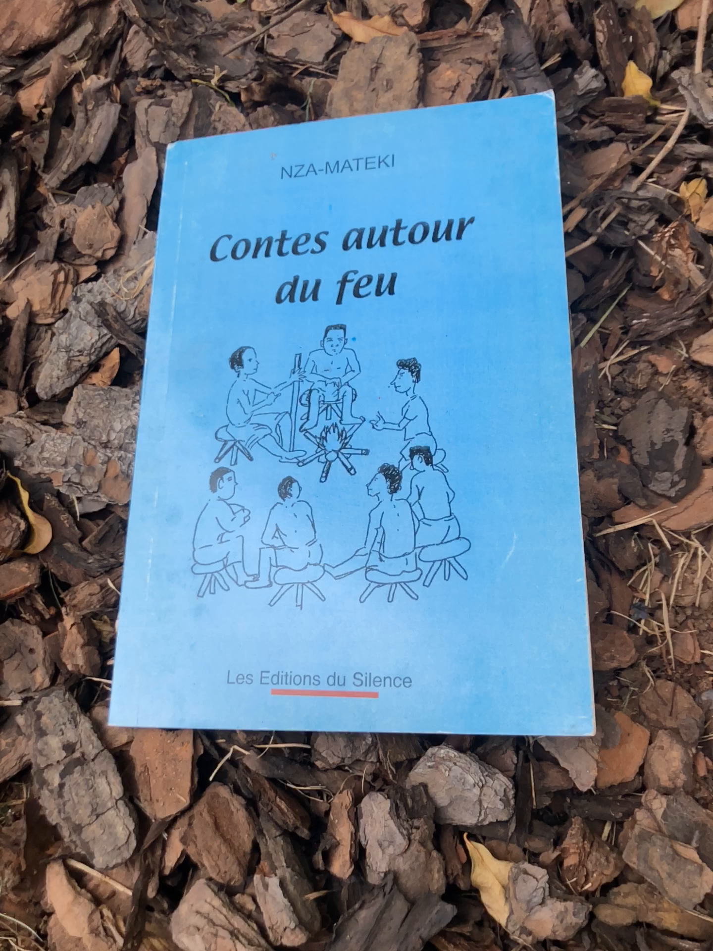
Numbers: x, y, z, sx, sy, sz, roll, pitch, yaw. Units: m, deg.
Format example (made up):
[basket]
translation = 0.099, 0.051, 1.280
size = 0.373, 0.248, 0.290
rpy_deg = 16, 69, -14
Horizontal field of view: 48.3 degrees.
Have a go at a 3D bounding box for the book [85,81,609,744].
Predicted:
[book]
translation = -0.003, -0.025, 0.248
size = 0.144, 0.015, 0.202
rpy_deg = -2, 73, 12
